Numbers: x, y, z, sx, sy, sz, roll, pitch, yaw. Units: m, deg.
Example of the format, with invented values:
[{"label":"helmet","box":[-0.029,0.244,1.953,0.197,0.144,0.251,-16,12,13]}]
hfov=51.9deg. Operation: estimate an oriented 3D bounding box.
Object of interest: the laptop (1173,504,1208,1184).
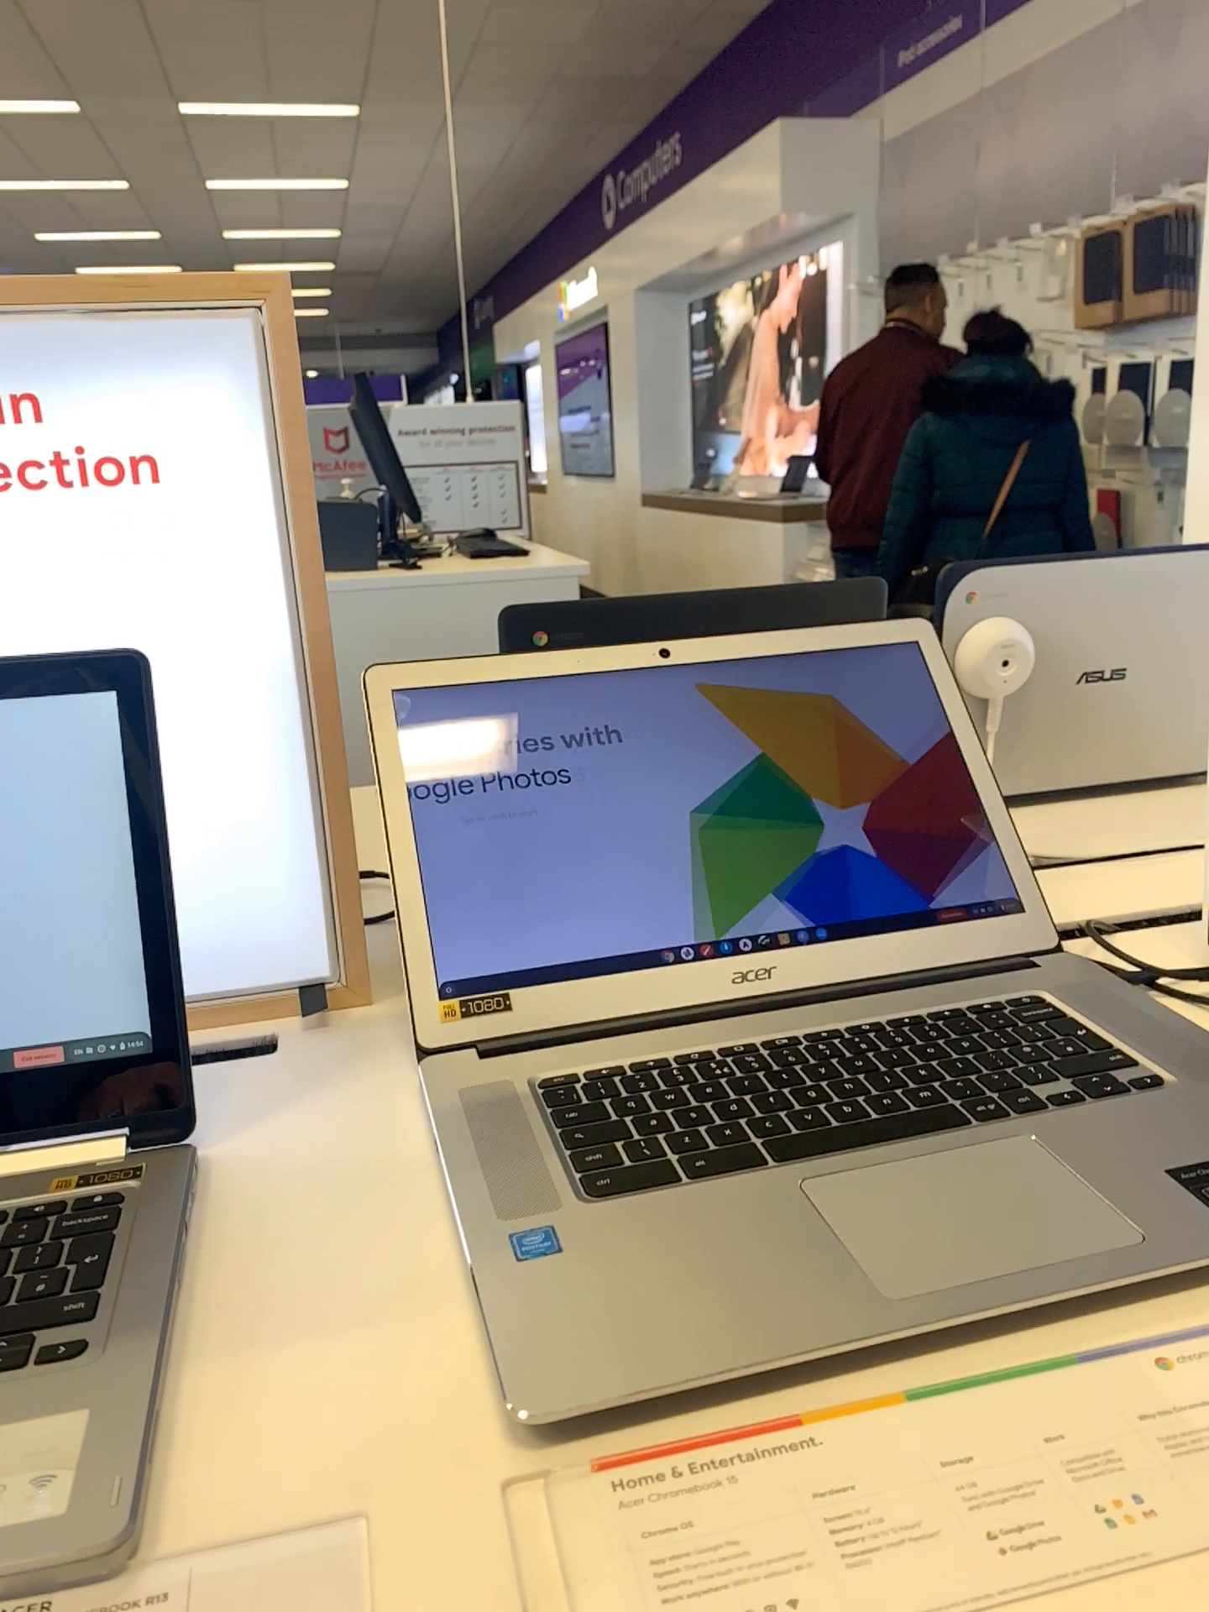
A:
[{"label":"laptop","box":[0.536,-0.018,0.616,0.358,0.233,0.269,-5,16,-13]}]

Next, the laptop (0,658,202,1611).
[{"label":"laptop","box":[-0.324,0.087,0.429,0.307,0.216,0.279,-6,16,-13]}]

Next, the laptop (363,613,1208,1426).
[{"label":"laptop","box":[0.094,0.033,0.617,0.376,0.175,0.427,-7,17,-14]}]
